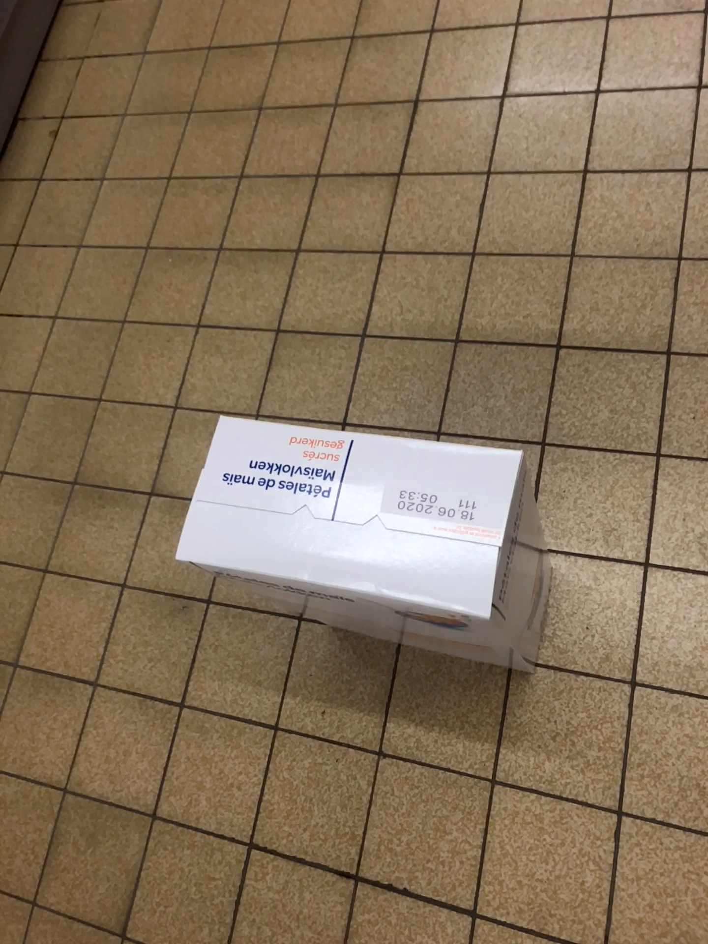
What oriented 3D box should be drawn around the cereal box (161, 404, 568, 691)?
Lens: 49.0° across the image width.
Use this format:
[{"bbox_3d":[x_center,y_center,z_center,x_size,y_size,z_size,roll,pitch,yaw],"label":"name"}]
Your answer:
[{"bbox_3d":[0.038,0.071,0.562,0.200,0.300,0.110,8,74,20],"label":"cereal box"}]
